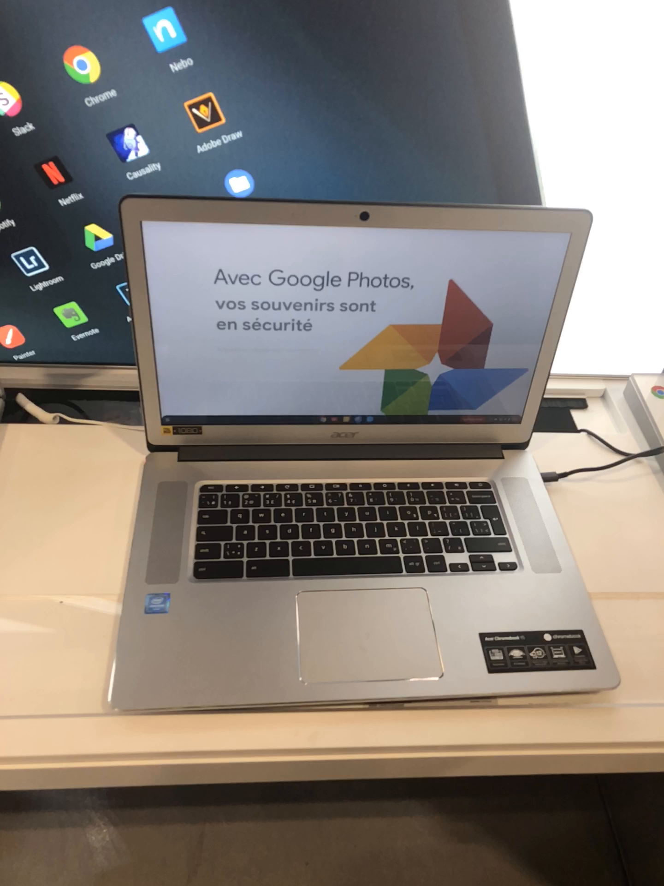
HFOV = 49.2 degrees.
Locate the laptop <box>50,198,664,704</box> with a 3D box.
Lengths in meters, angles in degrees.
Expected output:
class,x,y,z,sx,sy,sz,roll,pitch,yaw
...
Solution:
class,x,y,z,sx,sy,sz,roll,pitch,yaw
laptop,0.025,0.000,0.556,0.371,0.243,0.283,-1,45,-8
